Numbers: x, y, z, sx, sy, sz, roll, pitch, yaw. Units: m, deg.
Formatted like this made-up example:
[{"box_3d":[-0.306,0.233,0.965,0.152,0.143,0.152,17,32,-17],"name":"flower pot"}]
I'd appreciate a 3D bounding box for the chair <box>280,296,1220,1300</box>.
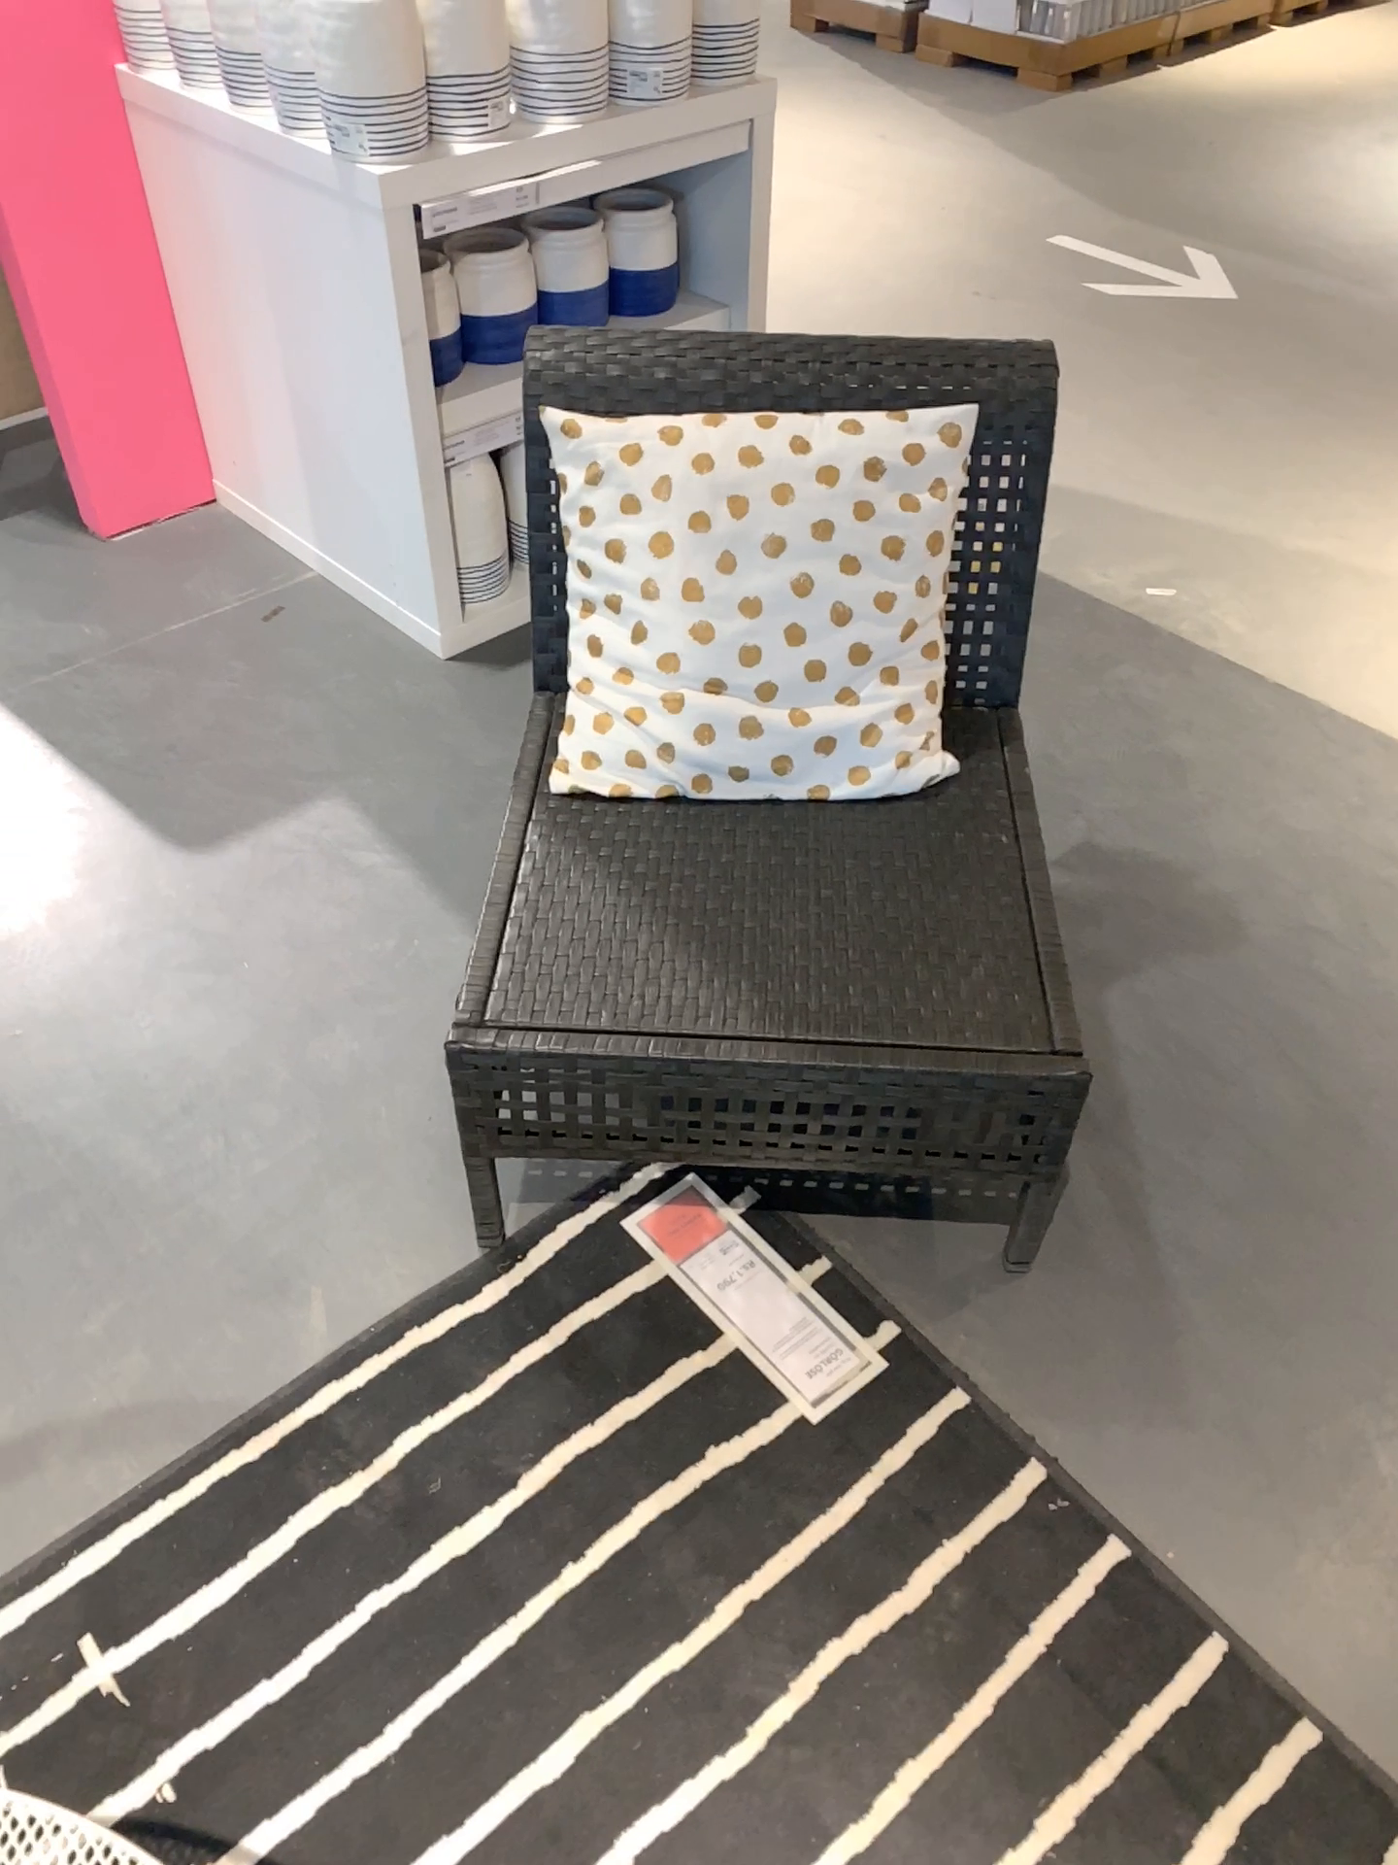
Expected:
[{"box_3d":[0.053,-0.161,1.614,0.700,0.797,0.783,3,43,2],"name":"chair"}]
